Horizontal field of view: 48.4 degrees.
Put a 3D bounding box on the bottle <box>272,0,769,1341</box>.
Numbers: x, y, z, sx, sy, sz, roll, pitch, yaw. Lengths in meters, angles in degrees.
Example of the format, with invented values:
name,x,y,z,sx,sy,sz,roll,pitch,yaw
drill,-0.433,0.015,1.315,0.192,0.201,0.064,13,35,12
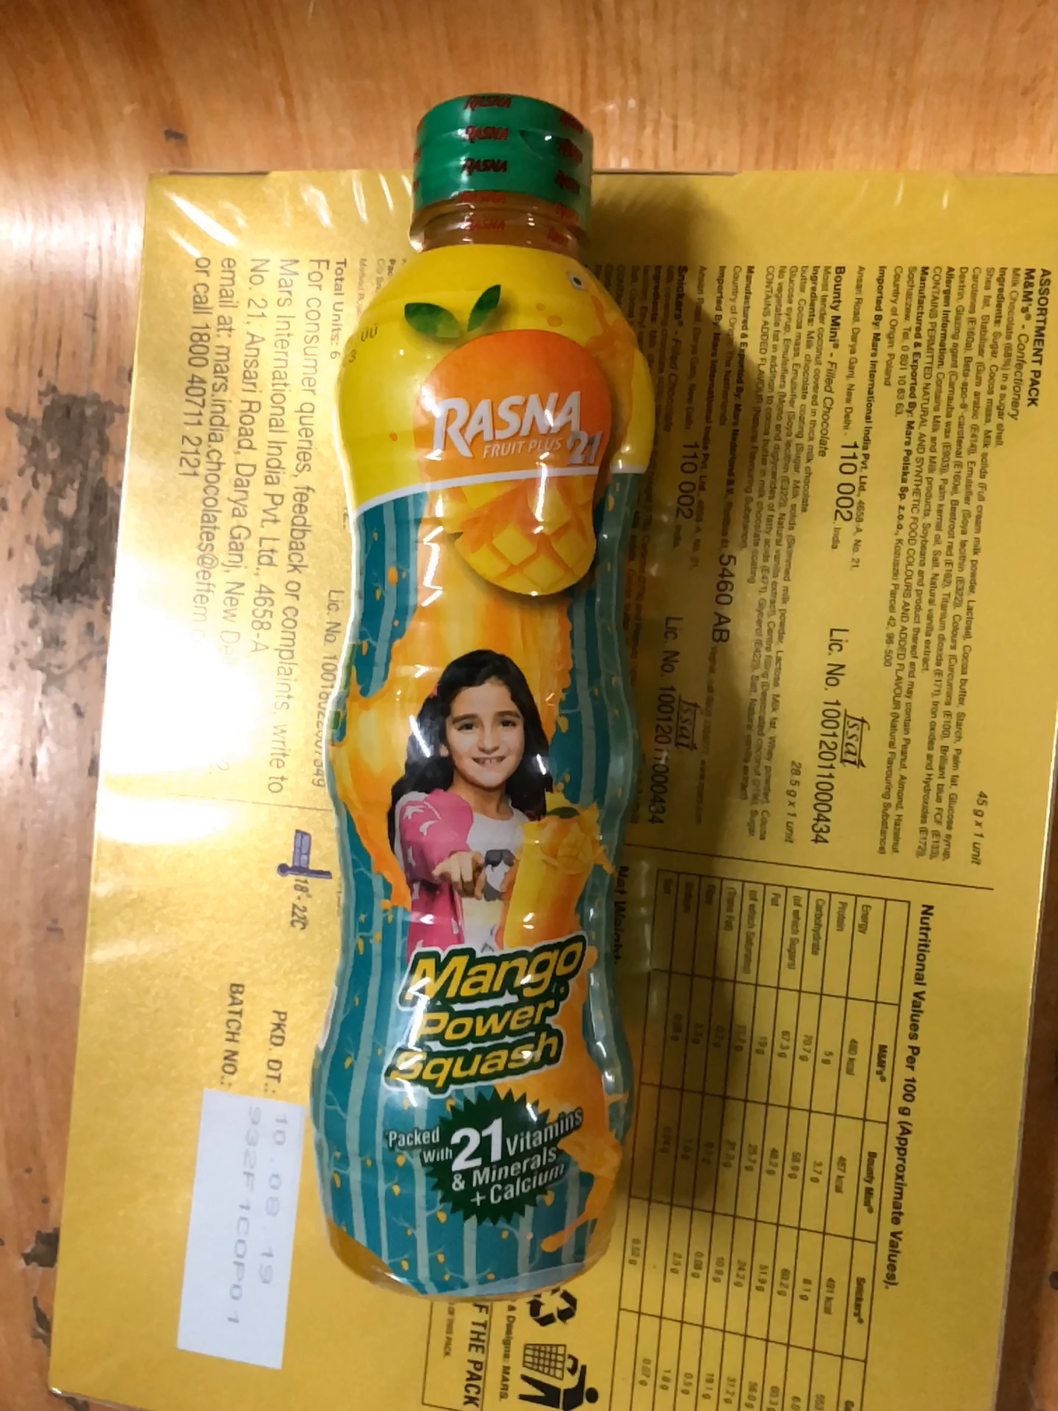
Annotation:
name,x,y,z,sx,sy,sz,roll,pitch,yaw
bottle,-0.005,-0.003,0.258,0.080,0.050,0.260,4,92,-8
